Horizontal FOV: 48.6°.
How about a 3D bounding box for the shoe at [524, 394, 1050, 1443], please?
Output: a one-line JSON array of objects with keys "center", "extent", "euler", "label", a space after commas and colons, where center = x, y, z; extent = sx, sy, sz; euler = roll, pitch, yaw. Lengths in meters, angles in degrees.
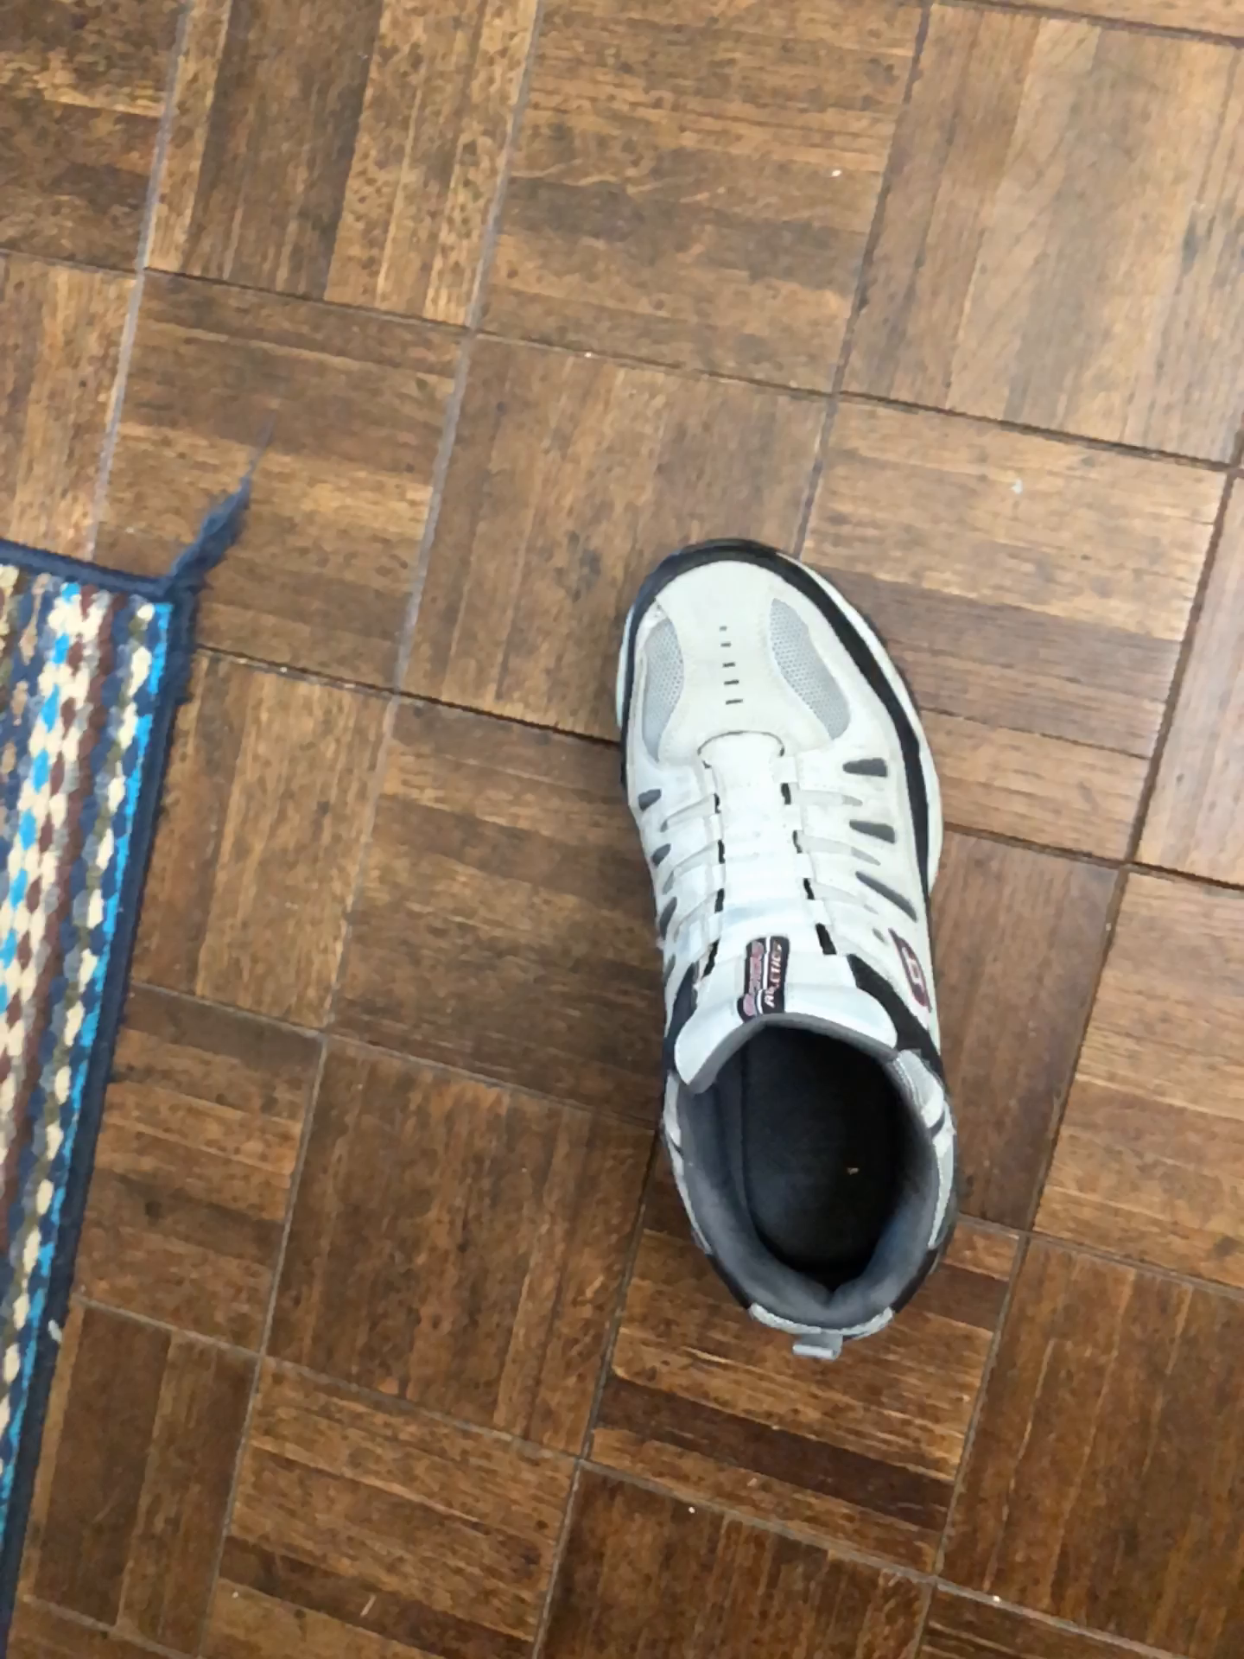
[{"center": [0.065, 0.031, 0.509], "extent": [0.120, 0.150, 0.320], "euler": [-8, 92, 12], "label": "shoe"}]
